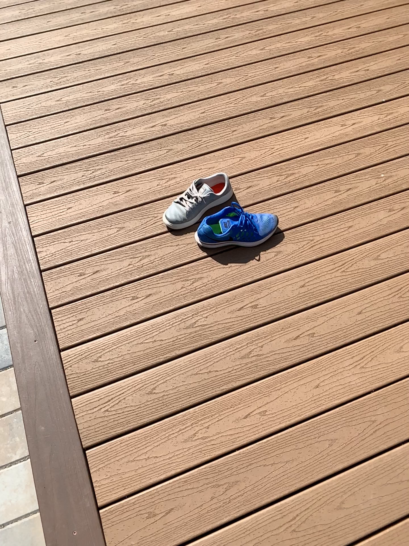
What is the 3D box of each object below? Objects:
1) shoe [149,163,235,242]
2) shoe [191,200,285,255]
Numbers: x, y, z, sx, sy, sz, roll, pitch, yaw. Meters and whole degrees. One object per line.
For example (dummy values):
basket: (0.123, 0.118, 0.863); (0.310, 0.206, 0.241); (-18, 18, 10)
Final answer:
shoe: (-0.040, -0.247, 1.453); (0.280, 0.110, 0.110); (-35, 66, -18)
shoe: (0.105, -0.148, 1.355); (0.280, 0.090, 0.110); (-9, 61, -4)
